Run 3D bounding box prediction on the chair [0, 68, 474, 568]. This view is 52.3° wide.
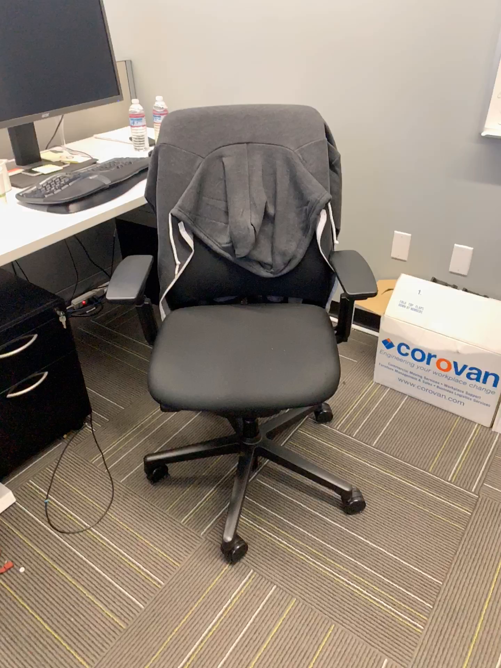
[{"bbox_3d":[-0.024,-0.078,1.428,0.750,1.074,0.885,0,34,2],"label":"chair"}]
